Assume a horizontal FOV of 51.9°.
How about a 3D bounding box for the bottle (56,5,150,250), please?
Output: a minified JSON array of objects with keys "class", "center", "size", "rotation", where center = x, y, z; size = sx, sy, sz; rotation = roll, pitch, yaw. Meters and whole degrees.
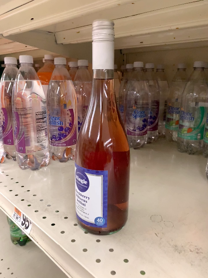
[{"class":"bottle","center":[-0.002,-0.008,0.313],"size":[0.080,0.299,0.090],"rotation":[-14,21,-39]}]
